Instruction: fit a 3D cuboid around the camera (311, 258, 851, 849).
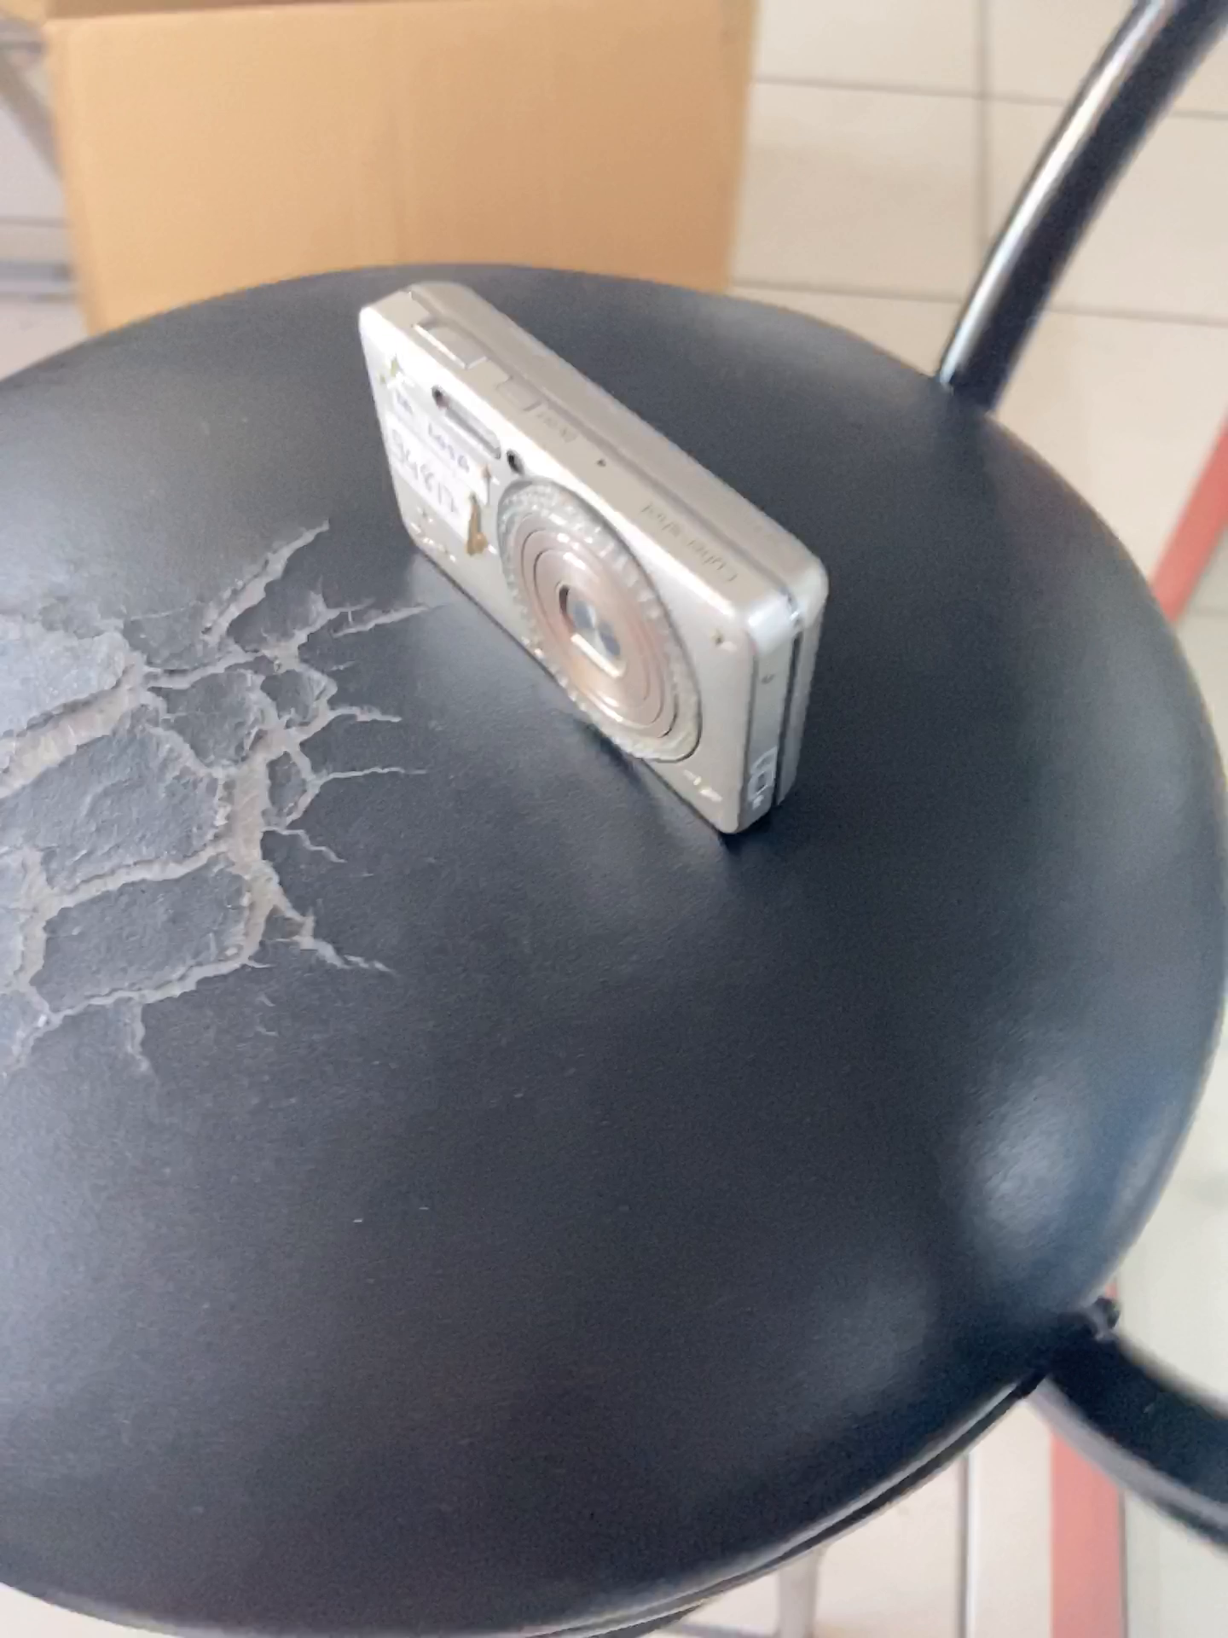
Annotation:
[{"bbox_3d":[-0.008,-0.042,0.198,0.022,0.042,0.092,-36,64,-20],"label":"camera"}]
